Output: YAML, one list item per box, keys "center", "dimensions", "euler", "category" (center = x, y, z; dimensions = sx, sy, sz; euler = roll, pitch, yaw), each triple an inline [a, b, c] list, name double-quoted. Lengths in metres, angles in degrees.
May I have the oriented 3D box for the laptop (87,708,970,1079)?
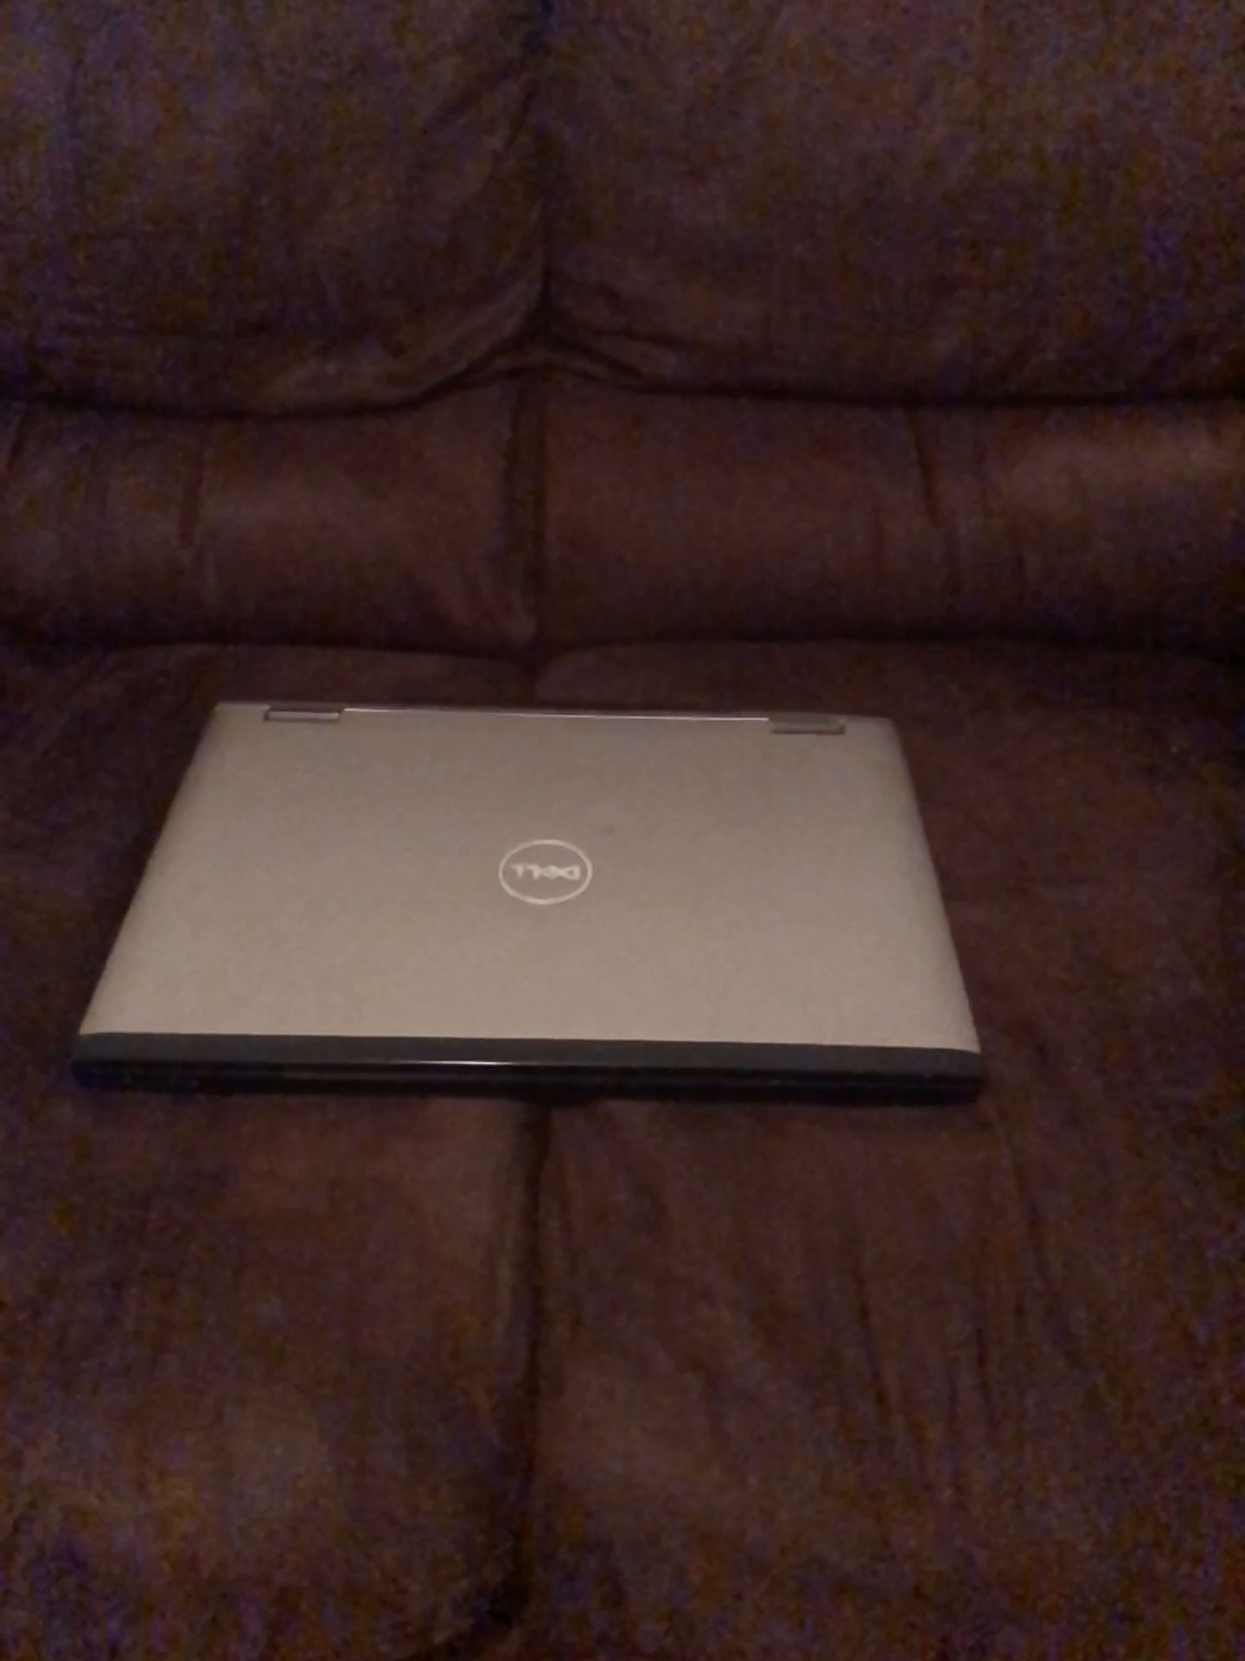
- center: [-0.039, 0.018, 0.675]
  dimensions: [0.369, 0.002, 0.261]
  euler: [1, 39, -2]
  category: "laptop"
